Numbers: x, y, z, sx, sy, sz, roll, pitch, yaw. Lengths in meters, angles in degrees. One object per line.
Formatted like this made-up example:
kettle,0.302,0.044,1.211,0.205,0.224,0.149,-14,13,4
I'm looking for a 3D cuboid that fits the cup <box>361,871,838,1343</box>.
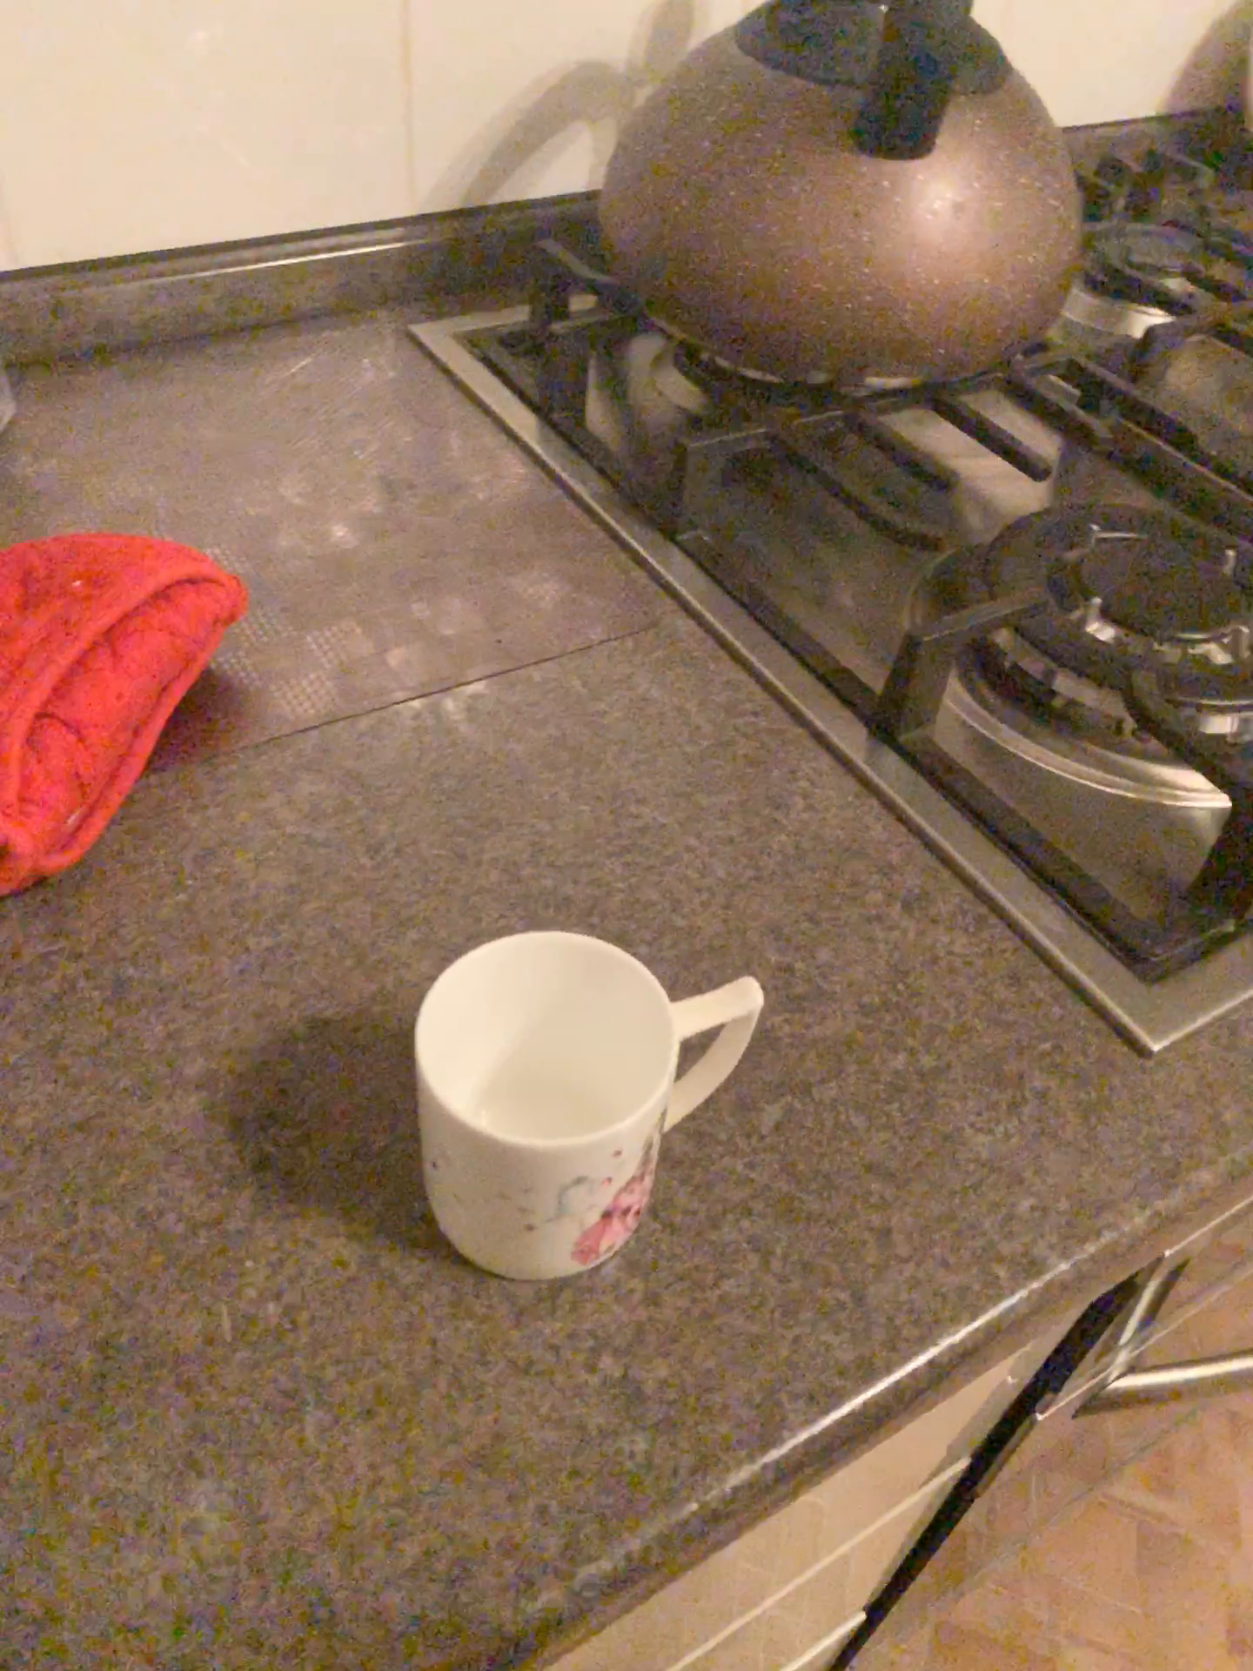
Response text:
cup,-0.009,0.063,0.307,0.090,0.069,0.060,-13,47,-18
